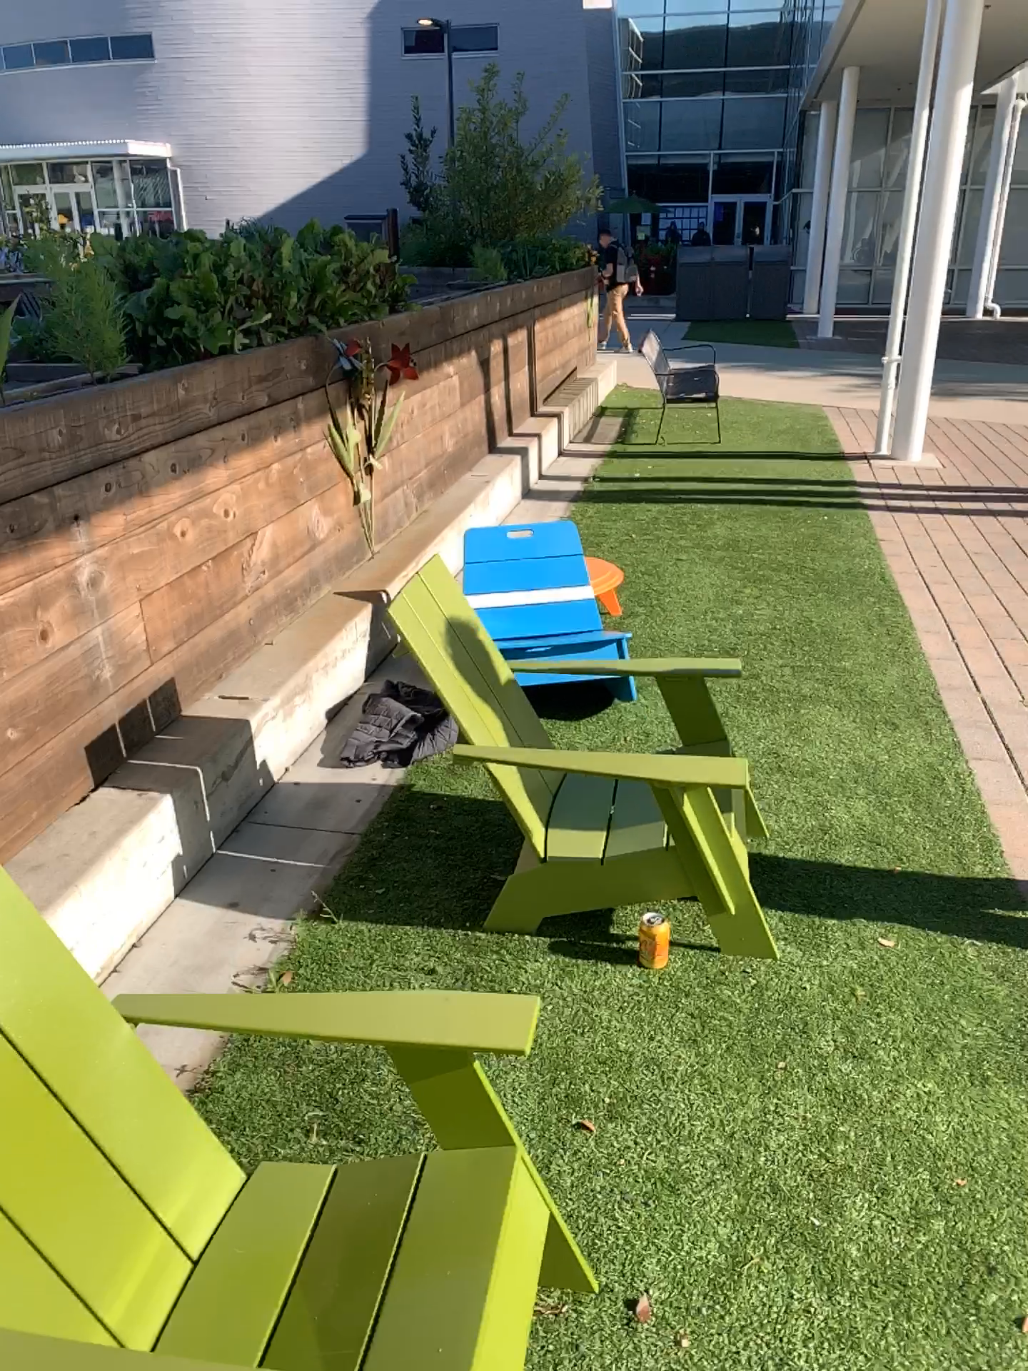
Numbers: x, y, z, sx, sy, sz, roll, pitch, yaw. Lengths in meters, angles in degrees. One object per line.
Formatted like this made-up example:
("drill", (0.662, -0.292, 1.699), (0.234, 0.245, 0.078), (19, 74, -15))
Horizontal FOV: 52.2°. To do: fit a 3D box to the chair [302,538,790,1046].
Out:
("chair", (0.131, 0.197, 2.675), (1.001, 0.895, 0.854), (4, 23, 11))
